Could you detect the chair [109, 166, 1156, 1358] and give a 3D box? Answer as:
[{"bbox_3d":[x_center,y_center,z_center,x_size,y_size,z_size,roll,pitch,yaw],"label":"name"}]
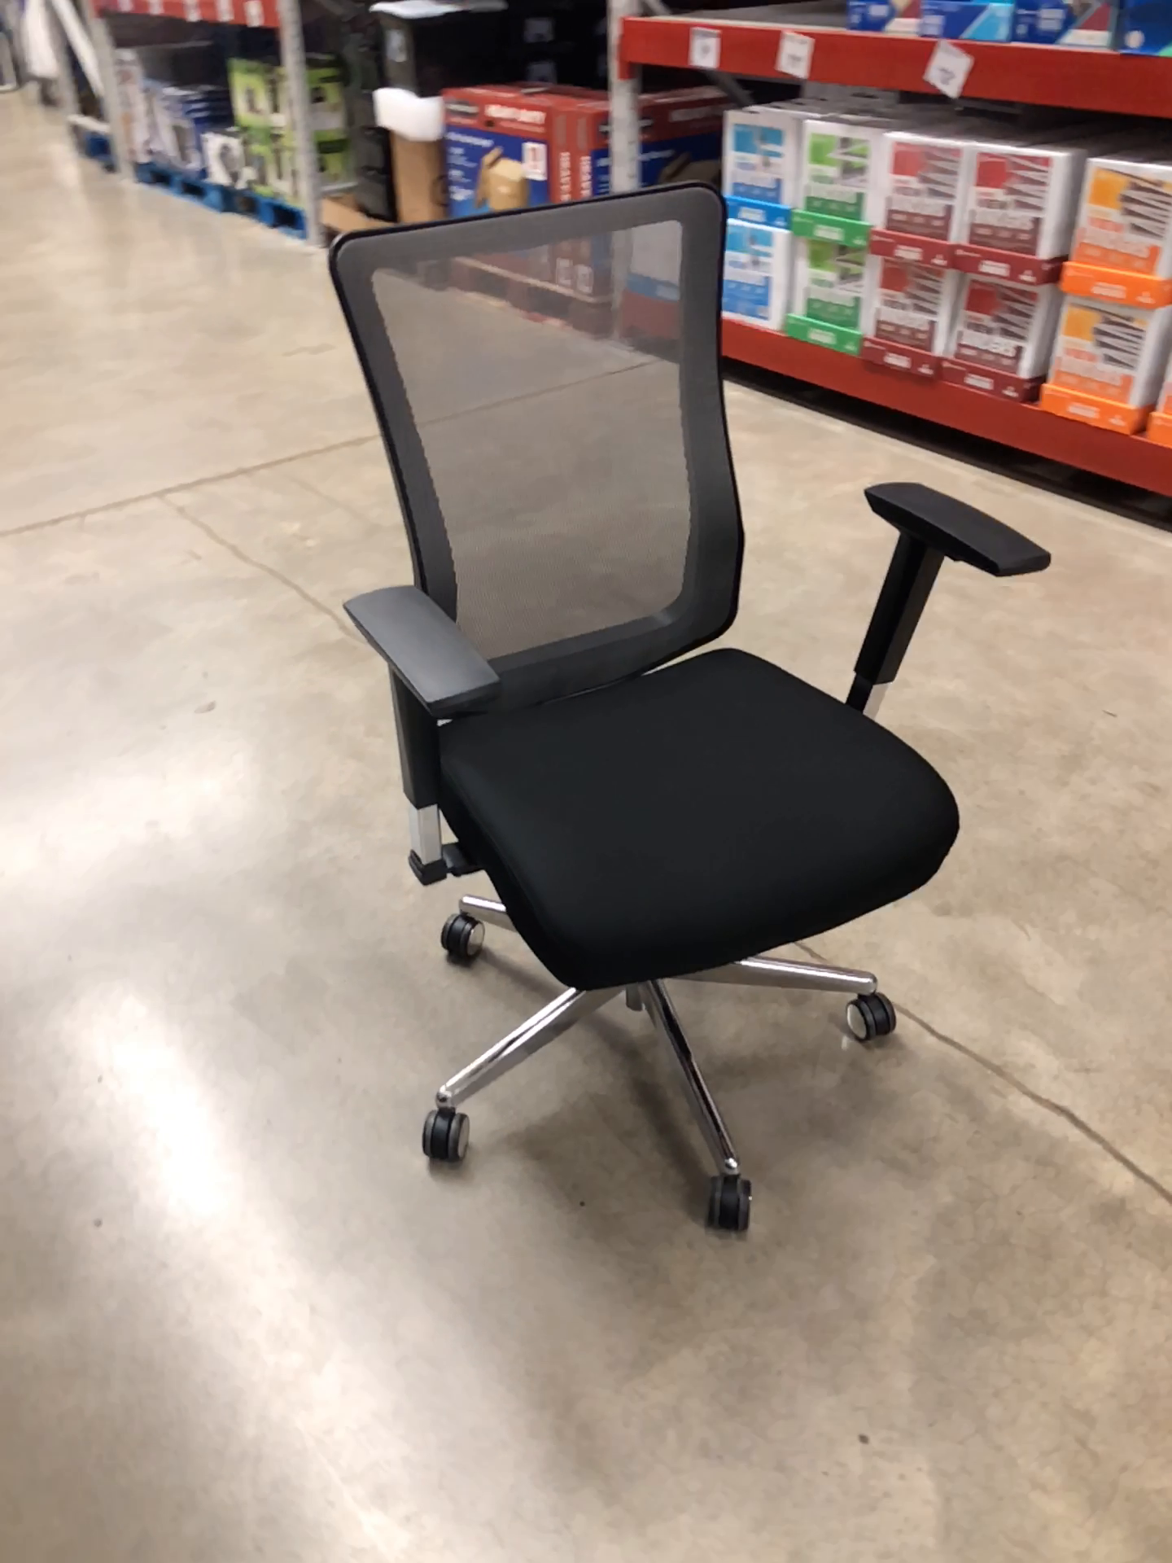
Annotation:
[{"bbox_3d":[0.022,-0.082,1.470,0.691,0.987,0.711,-22,39,-27],"label":"chair"}]
